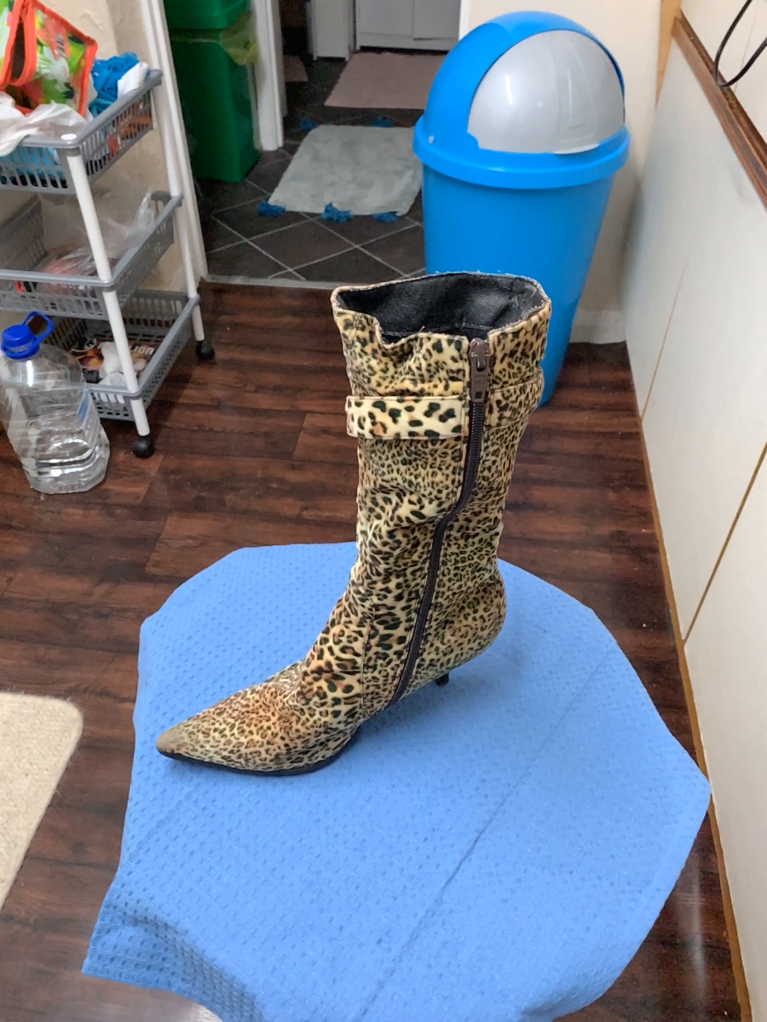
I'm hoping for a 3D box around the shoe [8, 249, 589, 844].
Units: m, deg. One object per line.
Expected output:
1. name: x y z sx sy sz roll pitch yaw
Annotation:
1. shoe: -0.041 0.042 0.495 0.260 0.347 0.101 -15 45 -15
